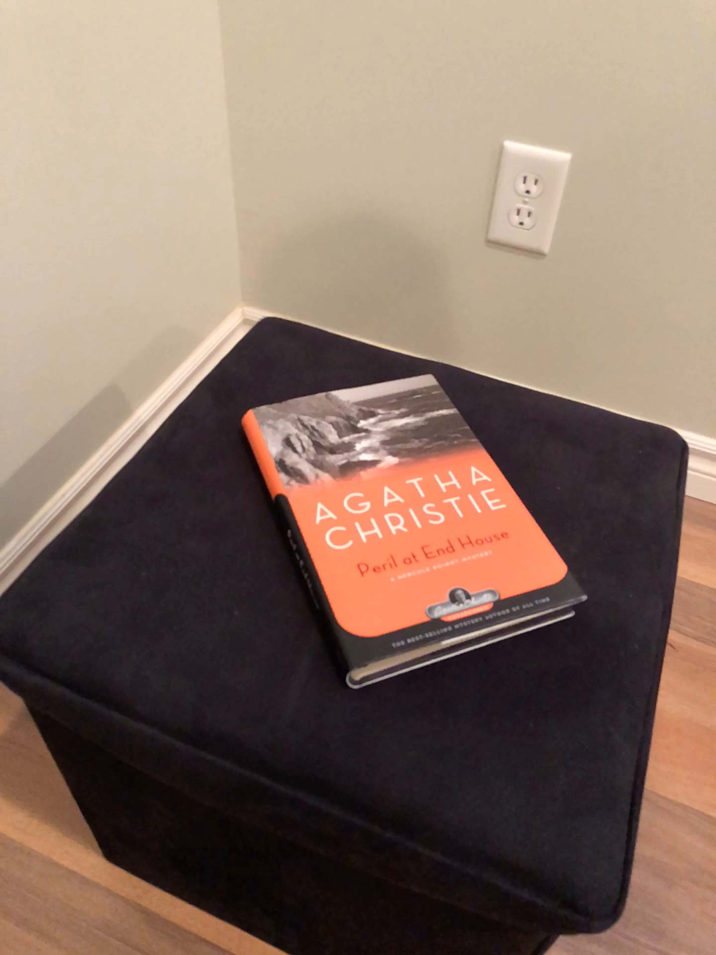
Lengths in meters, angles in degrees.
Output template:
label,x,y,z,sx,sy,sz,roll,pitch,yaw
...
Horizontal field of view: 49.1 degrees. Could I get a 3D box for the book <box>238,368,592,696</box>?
label,x,y,z,sx,sy,sz,roll,pitch,yaw
book,0.024,0.018,0.492,0.146,0.030,0.207,-14,48,-17
